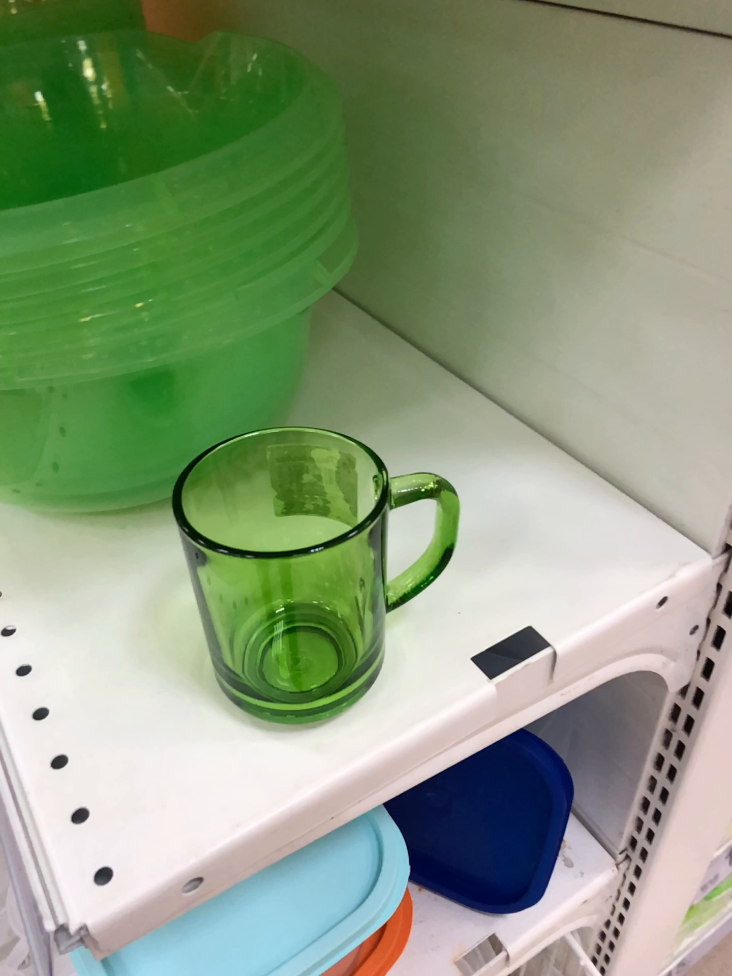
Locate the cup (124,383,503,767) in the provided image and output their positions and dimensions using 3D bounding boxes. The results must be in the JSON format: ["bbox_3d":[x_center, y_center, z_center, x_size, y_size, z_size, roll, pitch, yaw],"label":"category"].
[{"bbox_3d":[-0.018,0.029,0.298,0.110,0.086,0.073,-17,41,-16],"label":"cup"}]
